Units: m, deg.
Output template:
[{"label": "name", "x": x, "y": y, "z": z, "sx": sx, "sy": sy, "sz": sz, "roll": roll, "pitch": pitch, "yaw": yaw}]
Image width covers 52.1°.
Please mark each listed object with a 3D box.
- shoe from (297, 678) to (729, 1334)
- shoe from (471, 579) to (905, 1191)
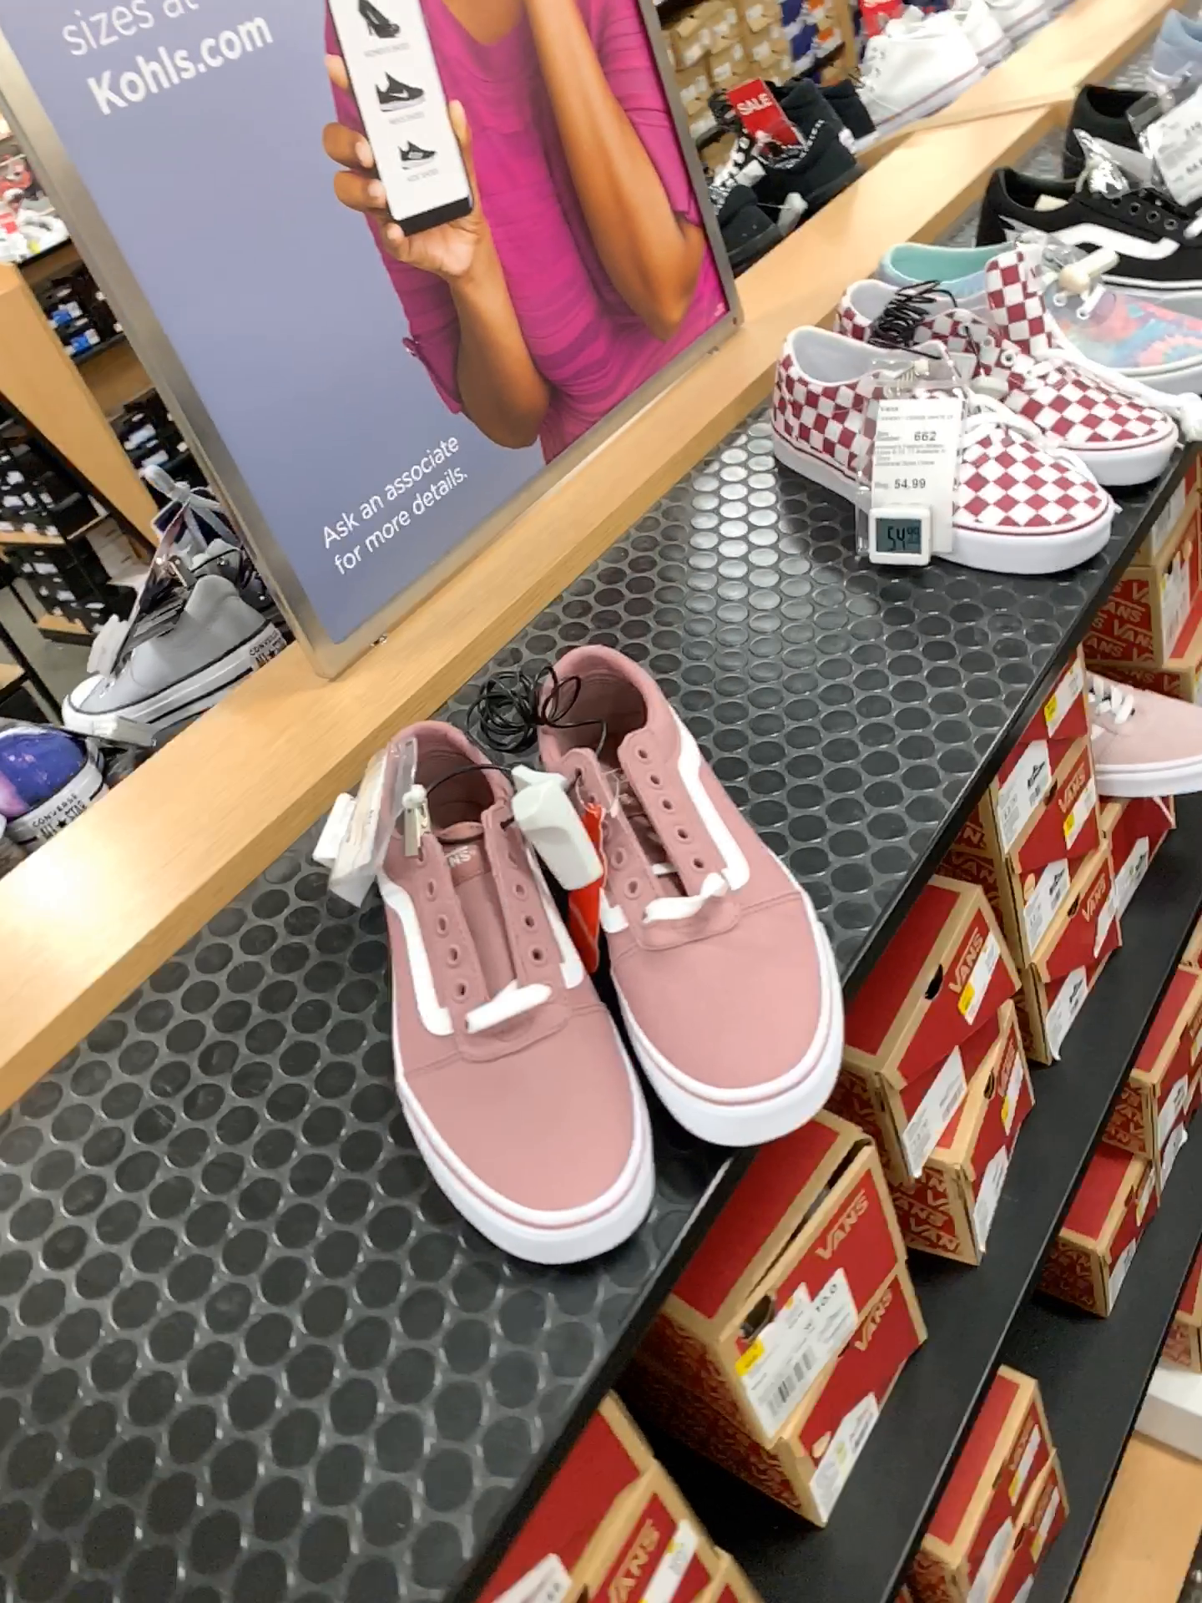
[{"label": "shoe", "x": -0.049, "y": 0.073, "z": 0.542, "sx": 0.100, "sy": 0.099, "sz": 0.262, "roll": -24, "pitch": 43, "yaw": -2}, {"label": "shoe", "x": 0.029, "y": 0.023, "z": 0.560, "sx": 0.100, "sy": 0.099, "sz": 0.262, "roll": -23, "pitch": 43, "yaw": 0}]
